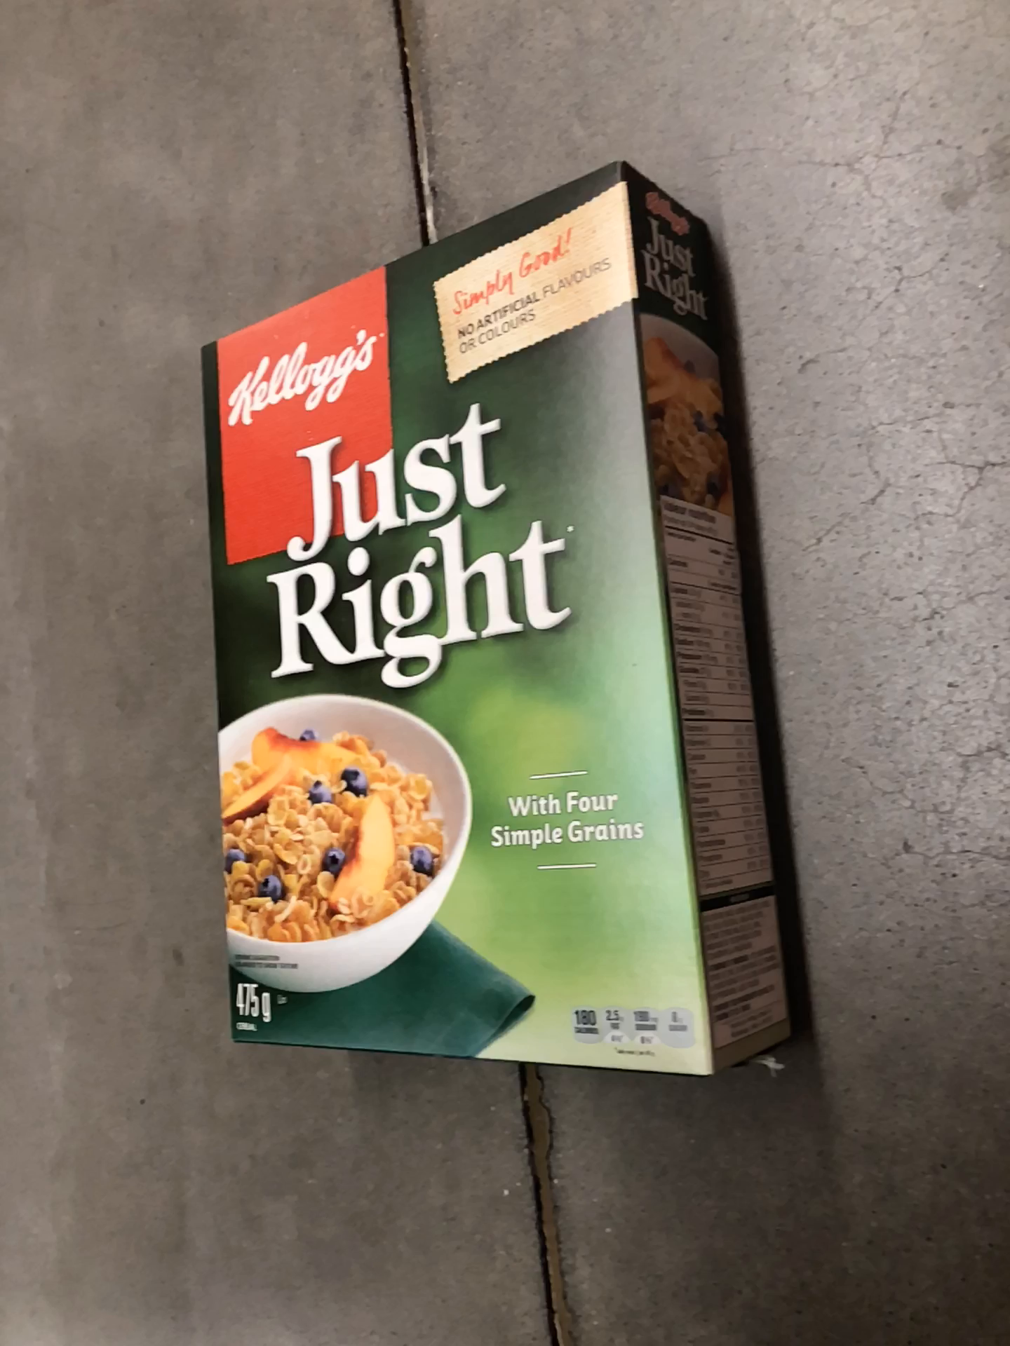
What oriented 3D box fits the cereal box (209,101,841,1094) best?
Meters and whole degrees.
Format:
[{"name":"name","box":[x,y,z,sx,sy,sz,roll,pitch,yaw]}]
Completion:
[{"name":"cereal box","box":[-0.009,-0.014,0.403,0.211,0.060,0.290,-10,81,35]}]
